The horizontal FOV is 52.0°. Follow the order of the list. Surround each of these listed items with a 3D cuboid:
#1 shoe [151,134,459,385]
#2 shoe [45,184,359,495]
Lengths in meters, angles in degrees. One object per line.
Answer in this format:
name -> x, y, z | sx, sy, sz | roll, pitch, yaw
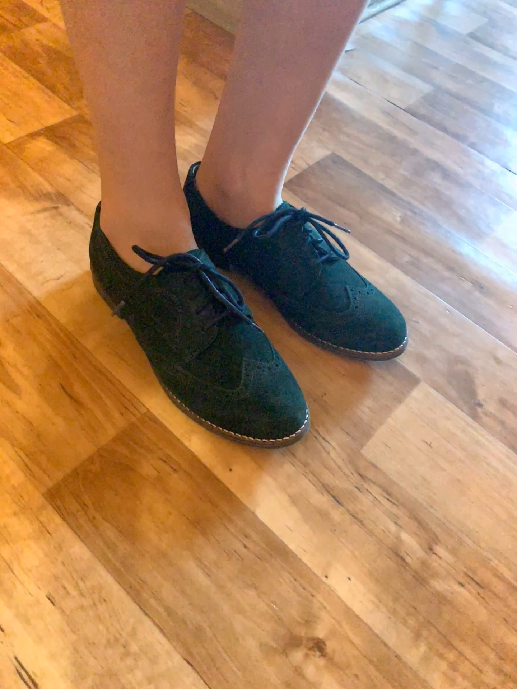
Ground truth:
shoe -> 0.035, -0.082, 0.485 | 0.250, 0.080, 0.100 | 31, 56, 11
shoe -> -0.055, -0.013, 0.440 | 0.260, 0.080, 0.090 | 42, 59, 19
